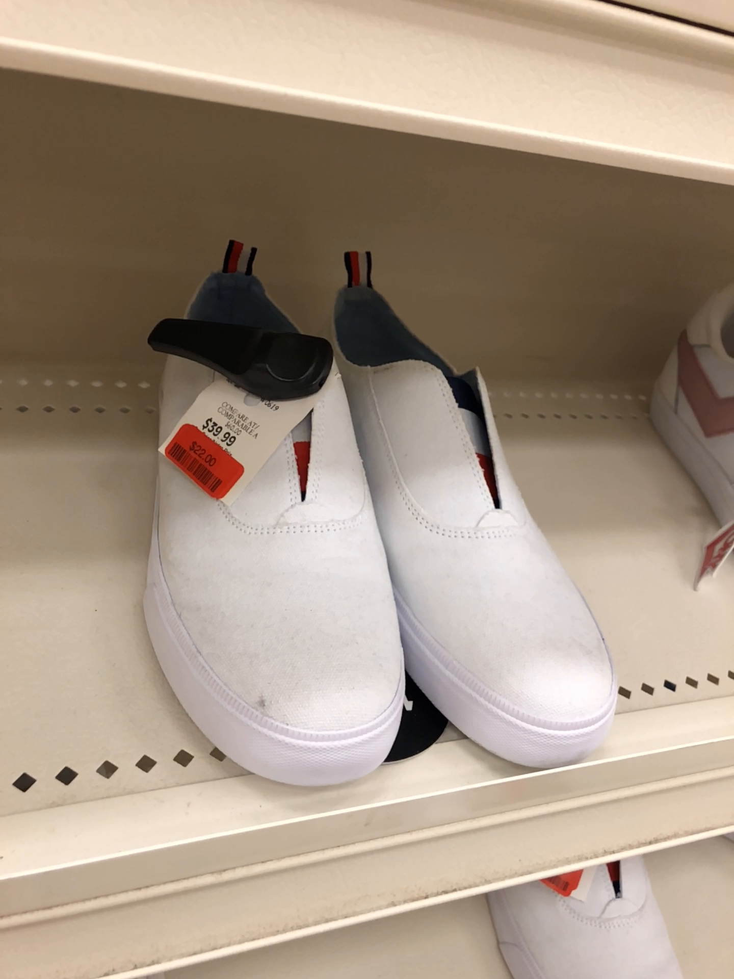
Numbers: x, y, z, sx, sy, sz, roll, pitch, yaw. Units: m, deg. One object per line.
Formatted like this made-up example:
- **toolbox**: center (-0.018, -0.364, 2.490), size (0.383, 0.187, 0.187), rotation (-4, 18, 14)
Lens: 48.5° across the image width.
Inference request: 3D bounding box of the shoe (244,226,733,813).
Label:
- **shoe**: center (0.025, -0.018, 0.394), size (0.100, 0.109, 0.302), rotation (-1, 36, -22)

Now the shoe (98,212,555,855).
- **shoe**: center (-0.049, -0.018, 0.337), size (0.100, 0.089, 0.292), rotation (-1, 36, -22)
